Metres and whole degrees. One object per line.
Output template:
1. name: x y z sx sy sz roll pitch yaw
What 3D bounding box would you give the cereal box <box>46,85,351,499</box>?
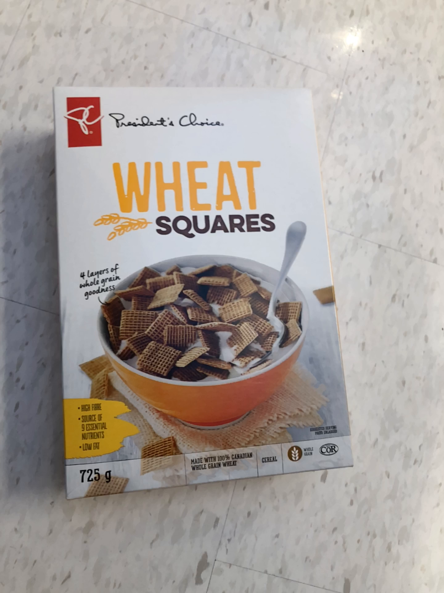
1. cereal box: -0.025 -0.012 0.393 0.200 0.080 0.290 -3 80 -9
